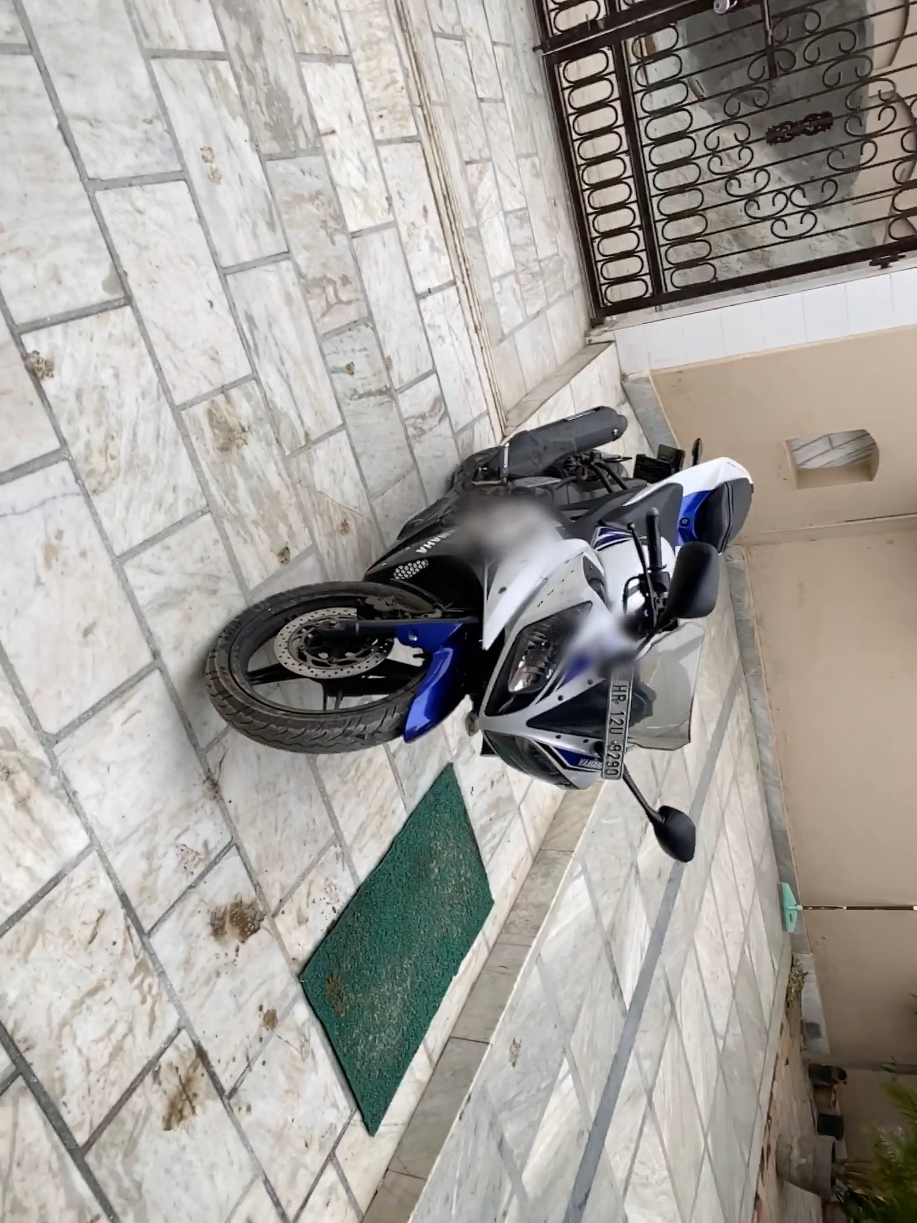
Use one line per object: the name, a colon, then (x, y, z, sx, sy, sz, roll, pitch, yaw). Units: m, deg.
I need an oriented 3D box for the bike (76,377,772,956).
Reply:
bike: (0.143, -0.015, 2.632, 1.891, 0.902, 0.734, -41, 123, -51)
